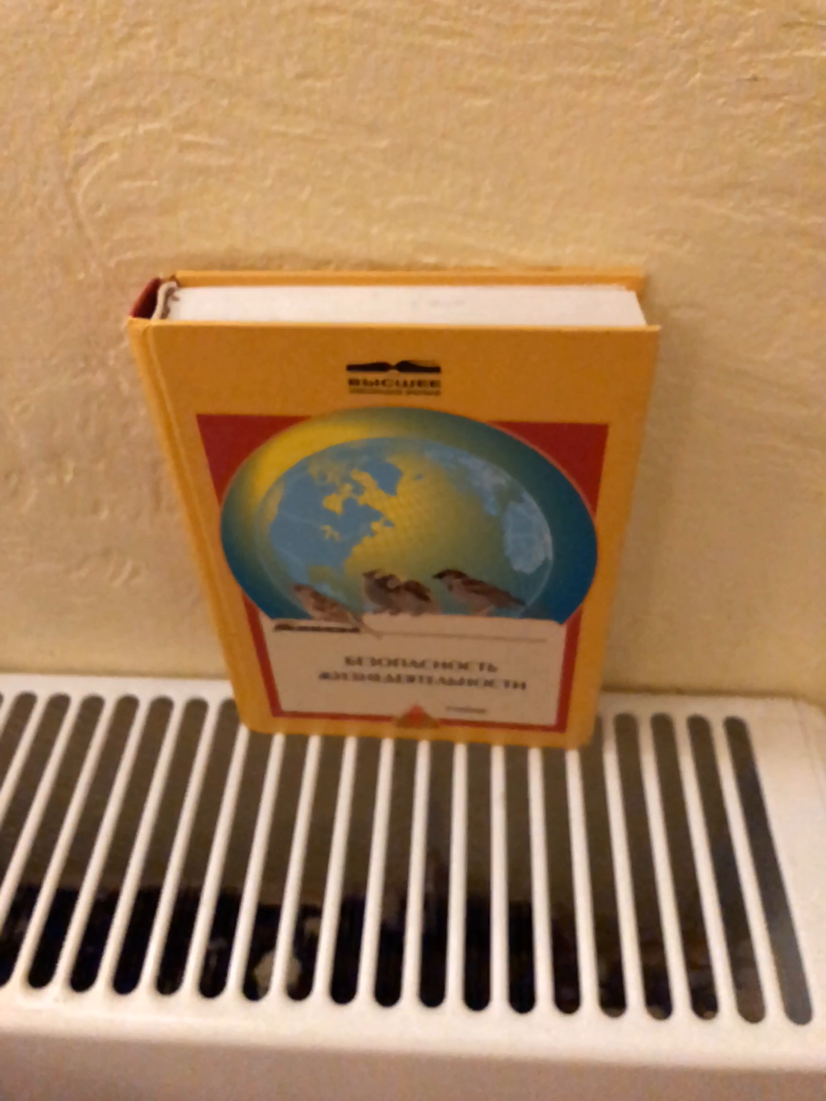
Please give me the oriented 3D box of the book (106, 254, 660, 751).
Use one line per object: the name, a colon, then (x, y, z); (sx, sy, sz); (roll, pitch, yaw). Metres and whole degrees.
book: (-0.003, -0.004, 0.335); (0.150, 0.202, 0.041); (2, 47, 6)
